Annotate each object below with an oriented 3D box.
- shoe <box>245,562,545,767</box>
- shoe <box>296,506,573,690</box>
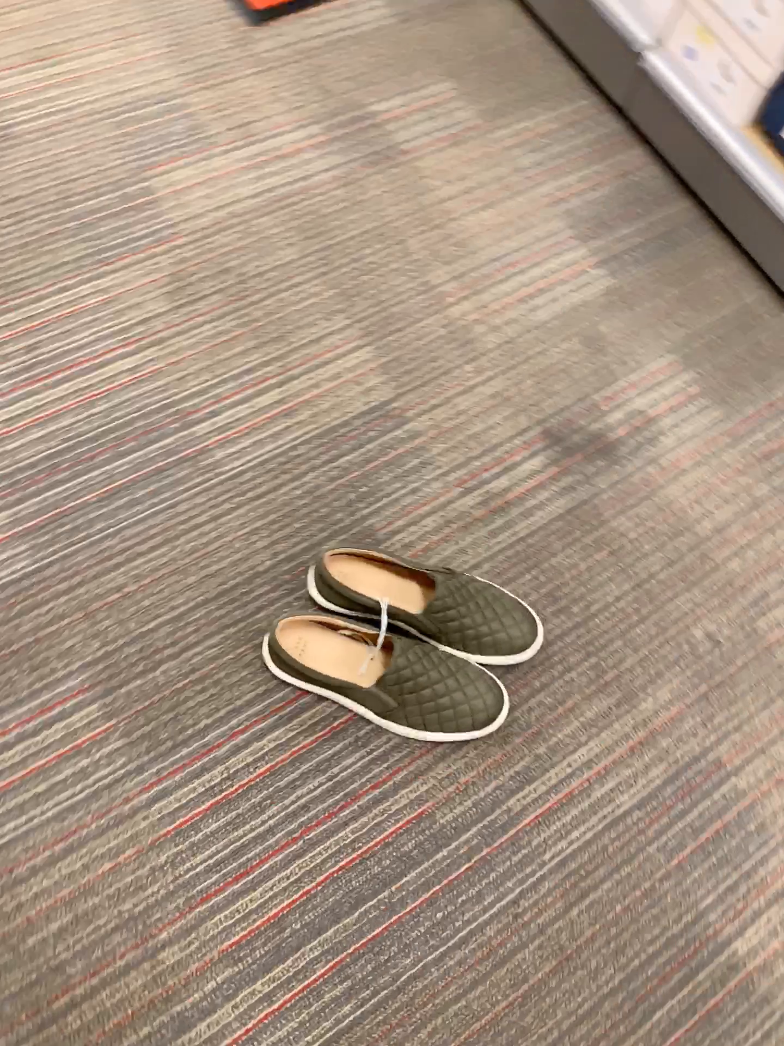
[{"bbox_3d":[-0.002,0.158,0.867,0.290,0.130,0.100,20,66,-1],"label":"shoe"},{"bbox_3d":[0.045,0.091,0.931,0.290,0.110,0.100,18,66,-2],"label":"shoe"}]
